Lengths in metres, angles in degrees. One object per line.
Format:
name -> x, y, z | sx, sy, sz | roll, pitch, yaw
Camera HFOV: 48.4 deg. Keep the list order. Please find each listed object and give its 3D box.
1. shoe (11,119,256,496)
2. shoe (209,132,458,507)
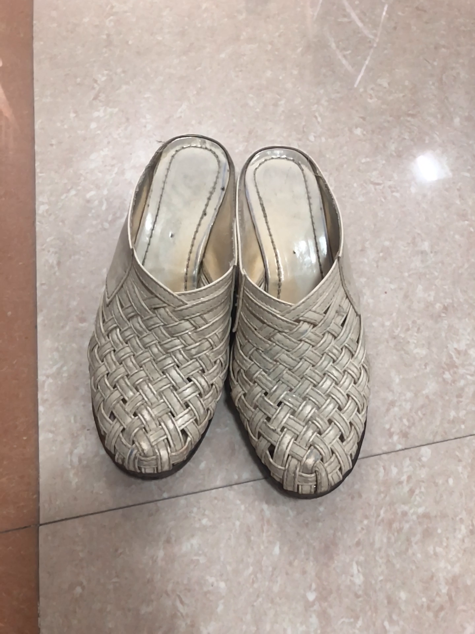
shoe -> -0.048, -0.015, 0.341 | 0.100, 0.085, 0.225 | 5, 58, 1
shoe -> 0.040, -0.008, 0.336 | 0.100, 0.085, 0.222 | -4, 58, -5
